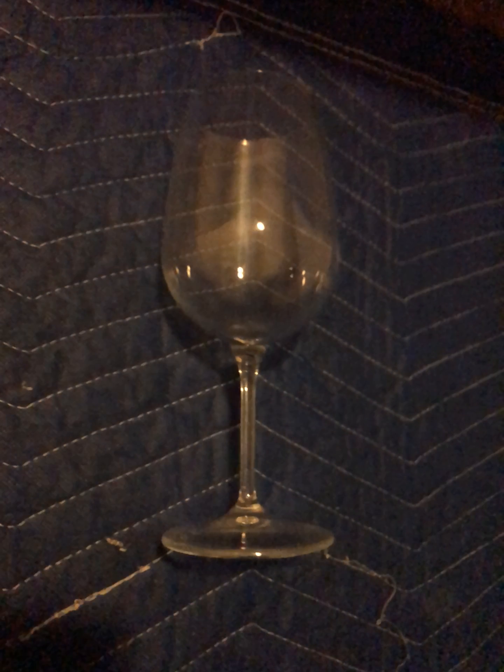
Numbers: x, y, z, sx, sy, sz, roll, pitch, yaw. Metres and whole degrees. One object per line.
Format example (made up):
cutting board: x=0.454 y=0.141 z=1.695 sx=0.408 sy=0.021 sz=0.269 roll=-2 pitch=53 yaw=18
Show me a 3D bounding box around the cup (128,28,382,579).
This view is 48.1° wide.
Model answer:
cup: x=-0.003 y=-0.011 z=0.266 sx=0.080 sy=0.090 sz=0.210 roll=6 pitch=78 yaw=-25
